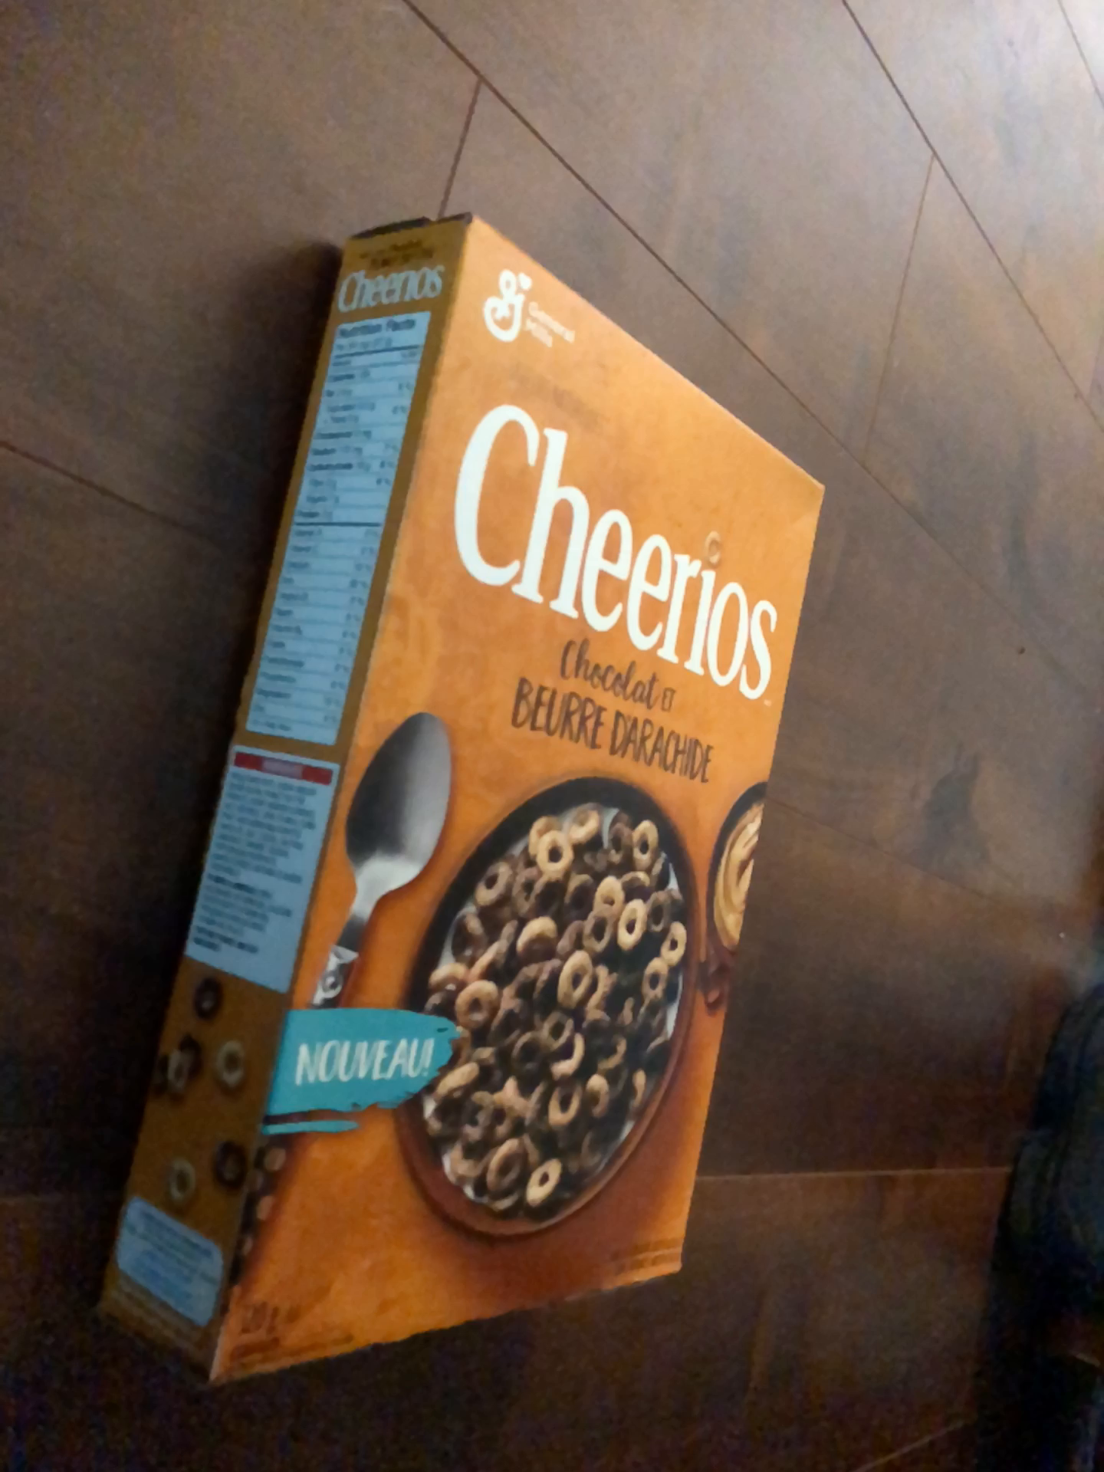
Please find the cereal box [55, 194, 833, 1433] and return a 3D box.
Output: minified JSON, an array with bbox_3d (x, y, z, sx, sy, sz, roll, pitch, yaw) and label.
[{"bbox_3d":[-0.012,0.028,0.382,0.201,0.060,0.300,17,84,-49],"label":"cereal box"}]
